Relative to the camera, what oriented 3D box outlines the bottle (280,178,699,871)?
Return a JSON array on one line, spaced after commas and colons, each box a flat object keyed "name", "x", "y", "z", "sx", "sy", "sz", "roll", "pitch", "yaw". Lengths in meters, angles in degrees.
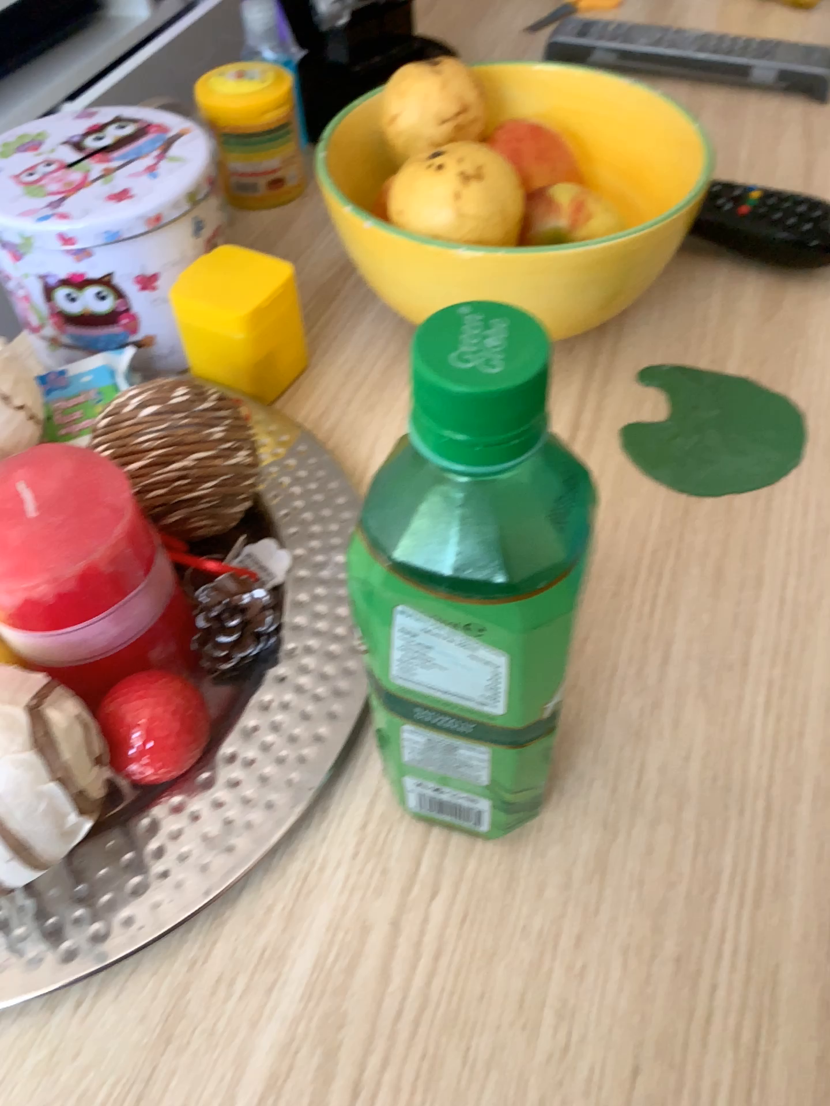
[{"name": "bottle", "x": 0.023, "y": 0.014, "z": 0.258, "sx": 0.070, "sy": 0.218, "sz": 0.071, "roll": -2, "pitch": 51, "yaw": 2}]
